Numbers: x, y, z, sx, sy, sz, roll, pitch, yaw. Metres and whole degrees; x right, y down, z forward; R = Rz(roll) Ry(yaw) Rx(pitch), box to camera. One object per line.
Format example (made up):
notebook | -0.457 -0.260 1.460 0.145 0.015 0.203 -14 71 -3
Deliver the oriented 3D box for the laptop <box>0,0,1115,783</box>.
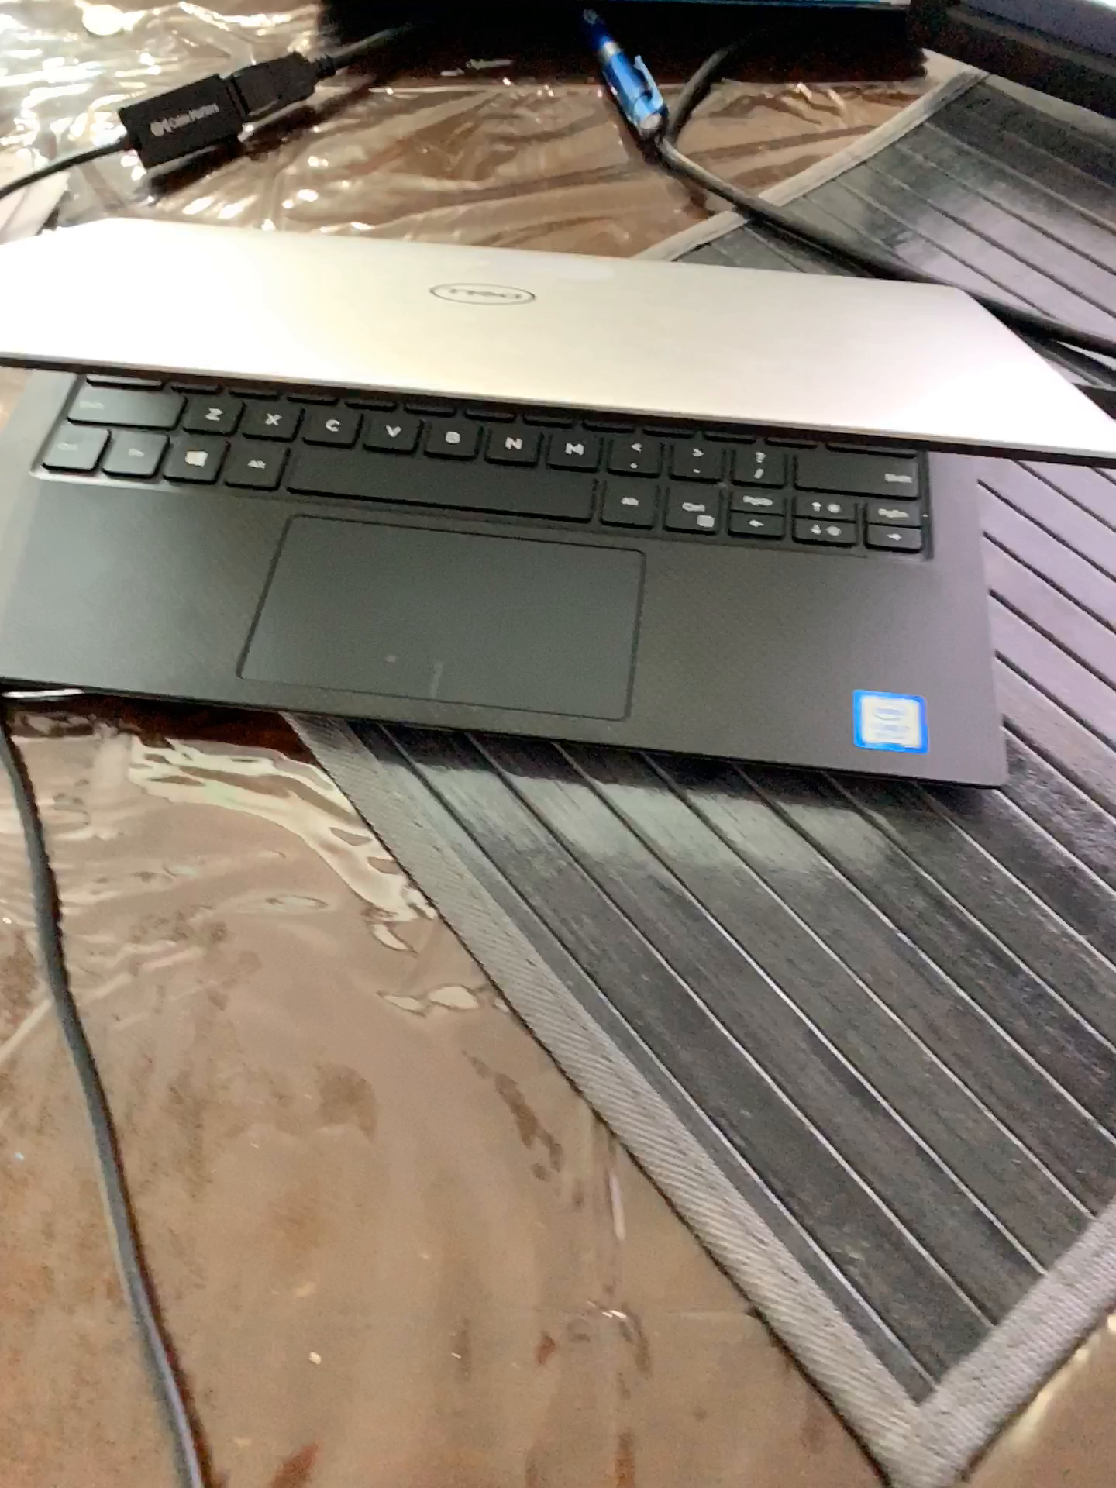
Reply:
laptop | -0.022 -0.105 0.306 0.289 0.082 0.183 6 58 3
